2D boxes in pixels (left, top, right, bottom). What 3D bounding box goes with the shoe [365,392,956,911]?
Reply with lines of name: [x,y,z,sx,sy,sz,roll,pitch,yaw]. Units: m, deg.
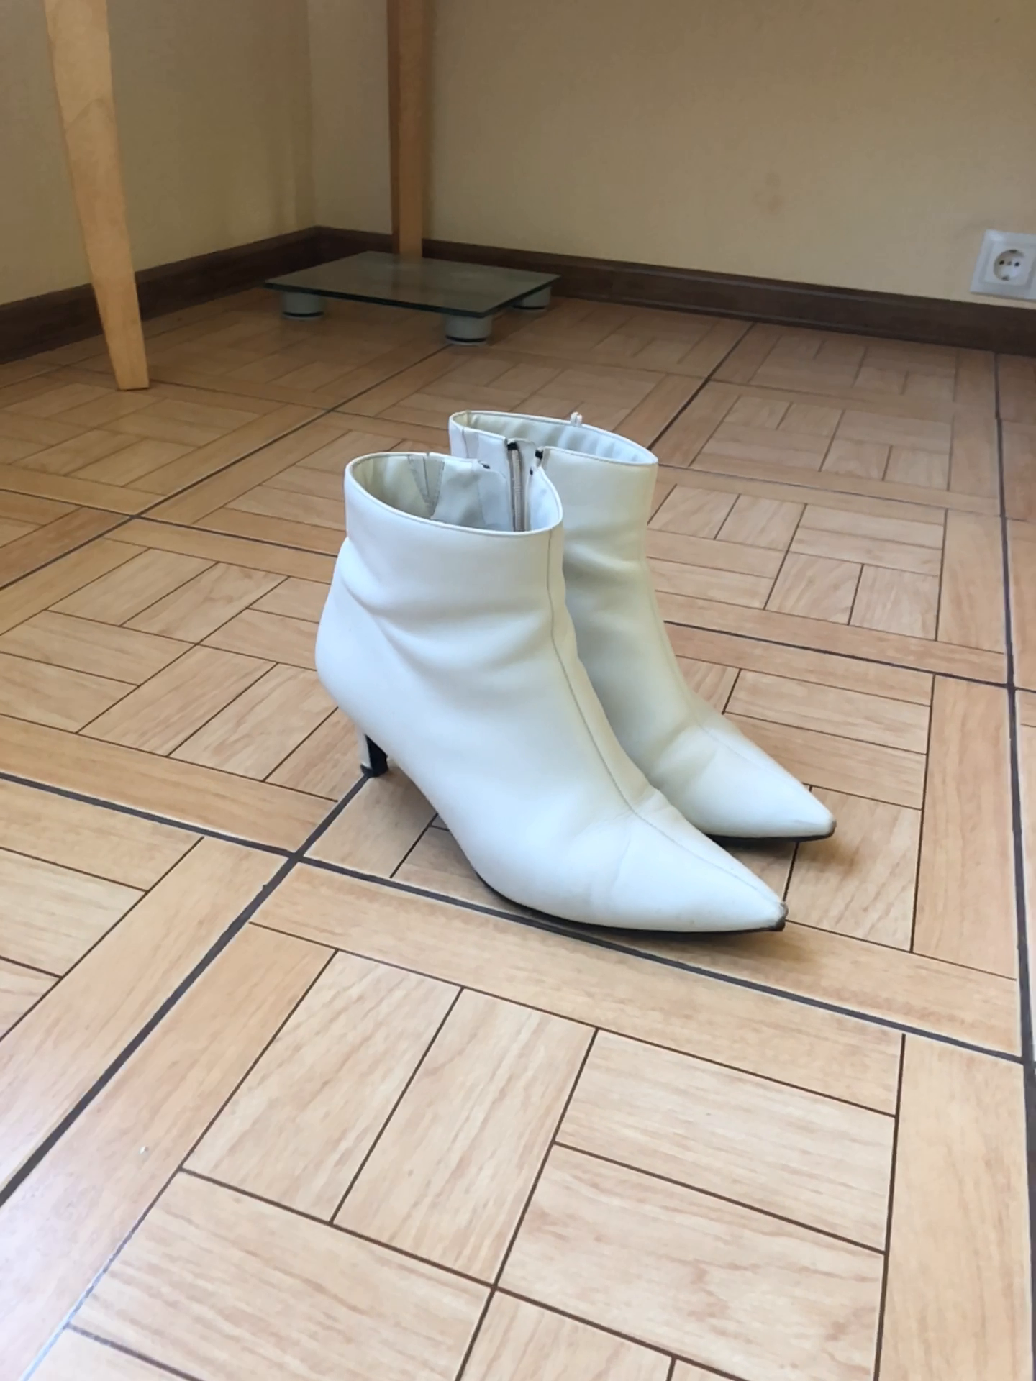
shoe: [0.052,-0.037,0.581,0.274,0.154,0.100,27,36,35]

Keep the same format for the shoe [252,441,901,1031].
shoe: [0.012,0.004,0.506,0.254,0.154,0.100,23,34,30]
